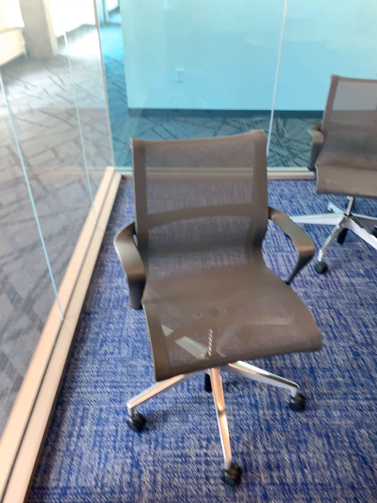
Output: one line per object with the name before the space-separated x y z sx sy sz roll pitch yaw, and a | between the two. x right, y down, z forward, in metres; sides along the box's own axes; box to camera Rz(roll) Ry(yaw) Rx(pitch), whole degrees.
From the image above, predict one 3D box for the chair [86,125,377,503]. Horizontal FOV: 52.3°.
chair | 0.111 0.139 1.107 0.660 0.773 0.645 -8 34 -13
